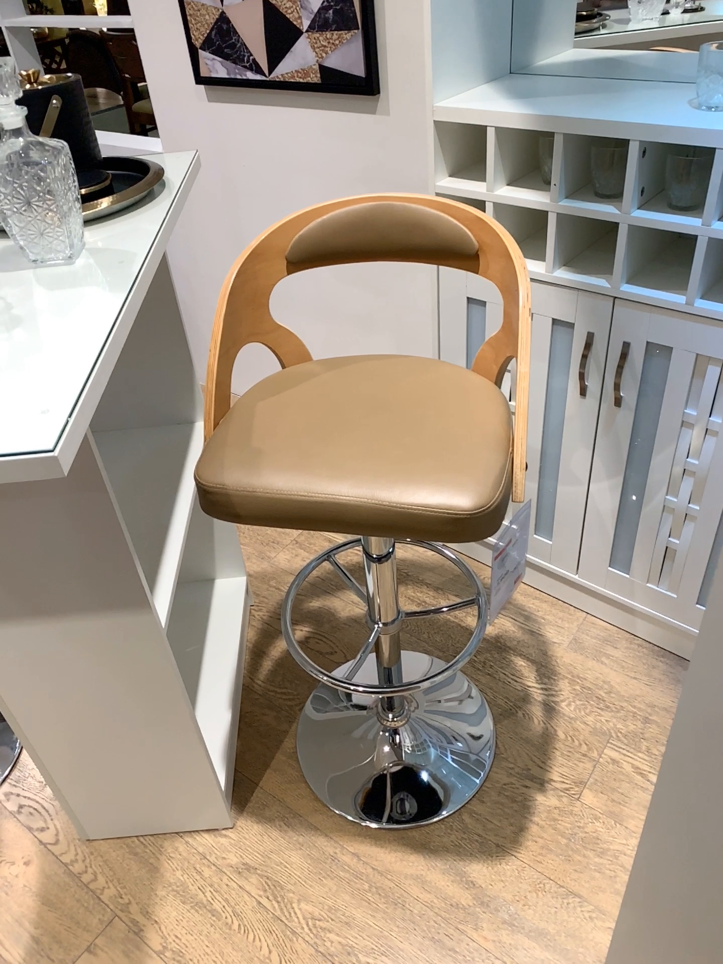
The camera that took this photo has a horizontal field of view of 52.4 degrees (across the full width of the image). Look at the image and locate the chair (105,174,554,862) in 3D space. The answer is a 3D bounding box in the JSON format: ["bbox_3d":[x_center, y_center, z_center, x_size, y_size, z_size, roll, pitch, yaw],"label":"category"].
[{"bbox_3d":[0.037,0.101,1.224,0.430,1.046,0.462,7,40,16],"label":"chair"}]
